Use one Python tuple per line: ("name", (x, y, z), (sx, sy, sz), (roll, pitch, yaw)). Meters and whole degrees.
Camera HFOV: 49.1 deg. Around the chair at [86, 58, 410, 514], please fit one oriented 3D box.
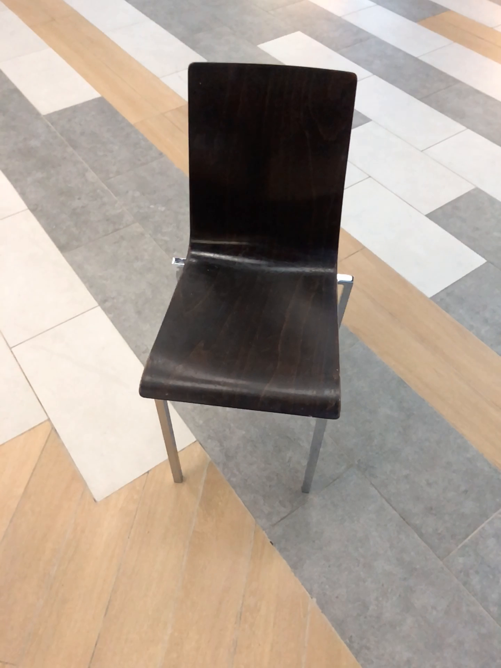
("chair", (0.026, -0.047, 1.227), (0.433, 0.847, 0.544), (6, 52, 5))
